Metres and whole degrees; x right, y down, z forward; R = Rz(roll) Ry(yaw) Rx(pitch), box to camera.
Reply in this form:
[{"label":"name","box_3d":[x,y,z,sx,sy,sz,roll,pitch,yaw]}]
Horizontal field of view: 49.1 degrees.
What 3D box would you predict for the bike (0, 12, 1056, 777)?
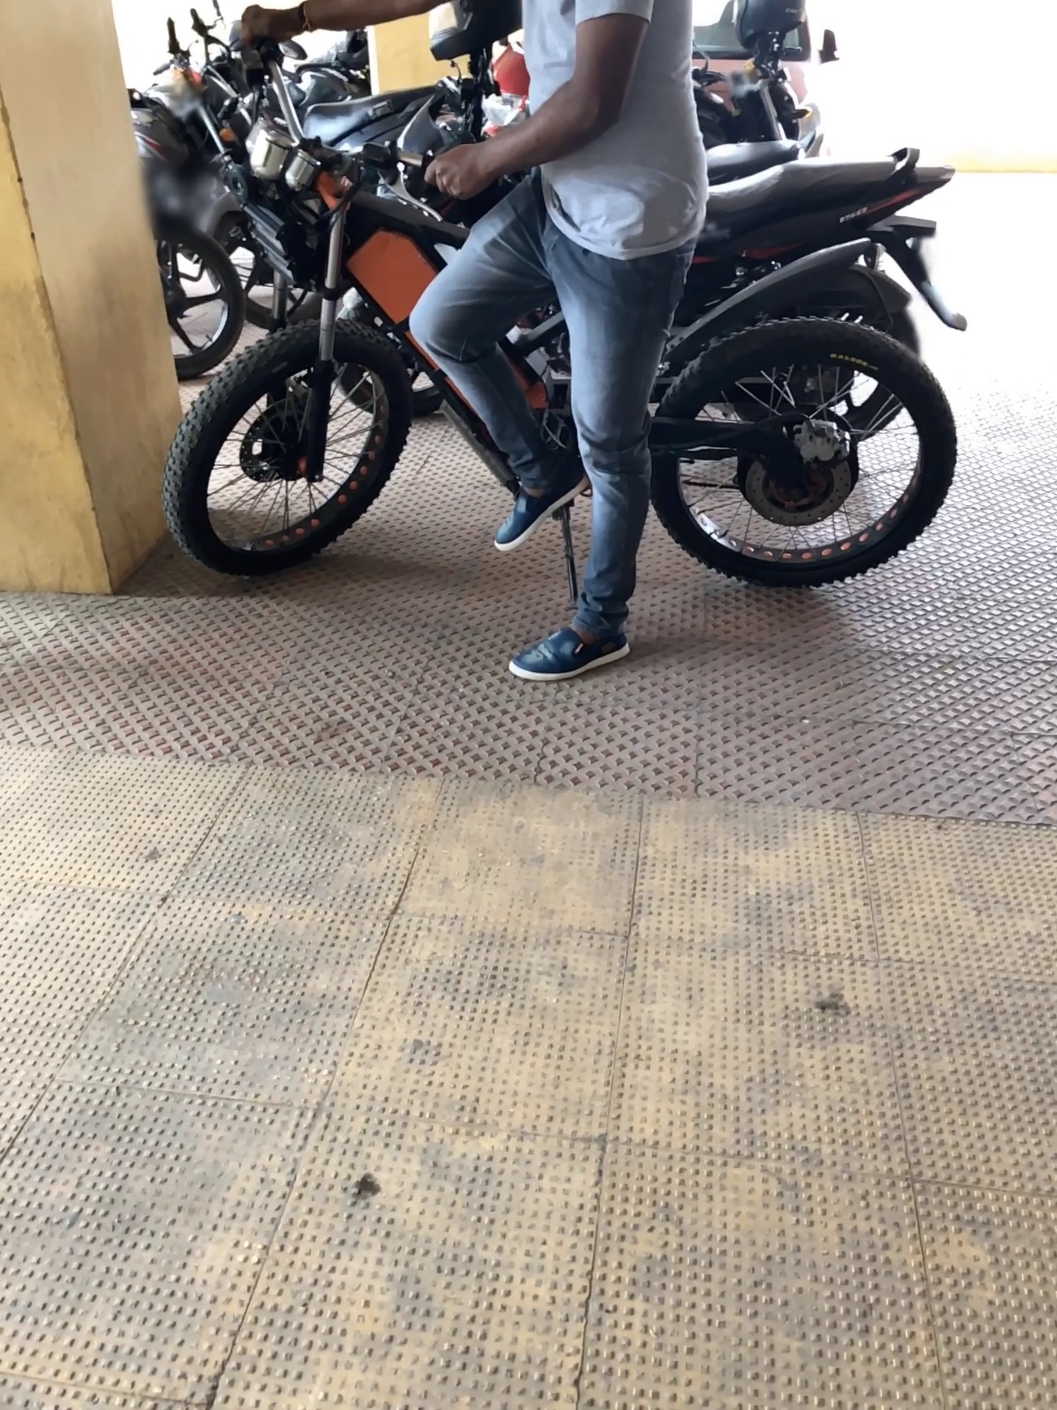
[{"label":"bike","box_3d":[0.026,-0.628,2.409,1.745,1.184,0.759,-3,31,4]}]
